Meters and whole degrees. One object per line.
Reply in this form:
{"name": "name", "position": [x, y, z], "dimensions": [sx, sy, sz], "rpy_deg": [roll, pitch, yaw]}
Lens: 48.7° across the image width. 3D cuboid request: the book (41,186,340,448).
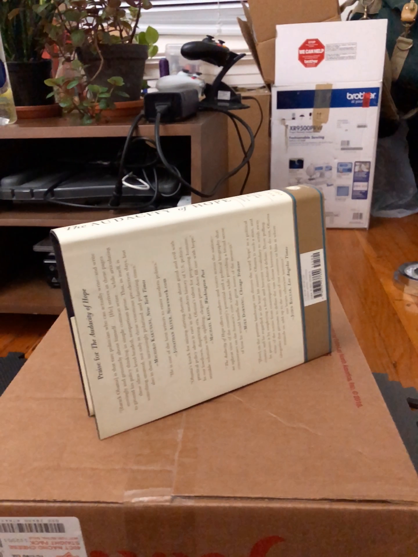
{"name": "book", "position": [-0.001, 0.017, 0.416], "dimensions": [0.250, 0.169, 0.060], "rpy_deg": [-13, 15, -26]}
